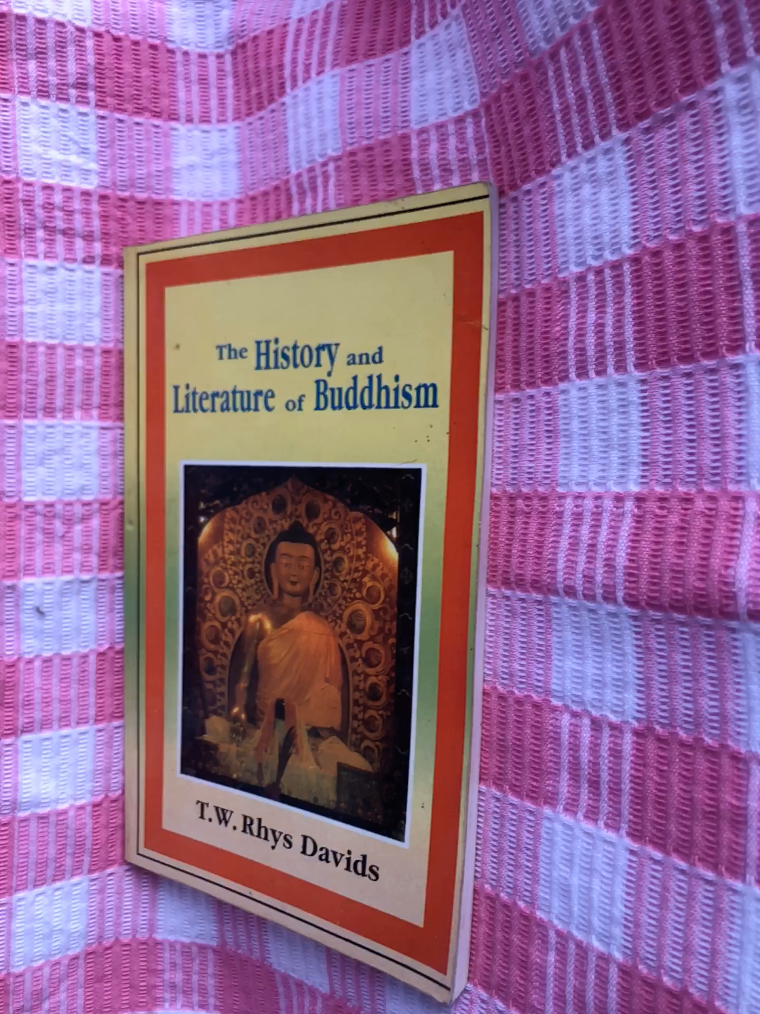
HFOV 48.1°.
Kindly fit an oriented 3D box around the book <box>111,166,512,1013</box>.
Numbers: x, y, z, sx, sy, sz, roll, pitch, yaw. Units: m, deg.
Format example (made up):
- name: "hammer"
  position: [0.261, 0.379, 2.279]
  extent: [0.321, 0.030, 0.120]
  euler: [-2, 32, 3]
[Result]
- name: "book"
  position: [-0.030, 0.022, 0.264]
  extent: [0.020, 0.139, 0.220]
  euler: [-2, 94, -53]
